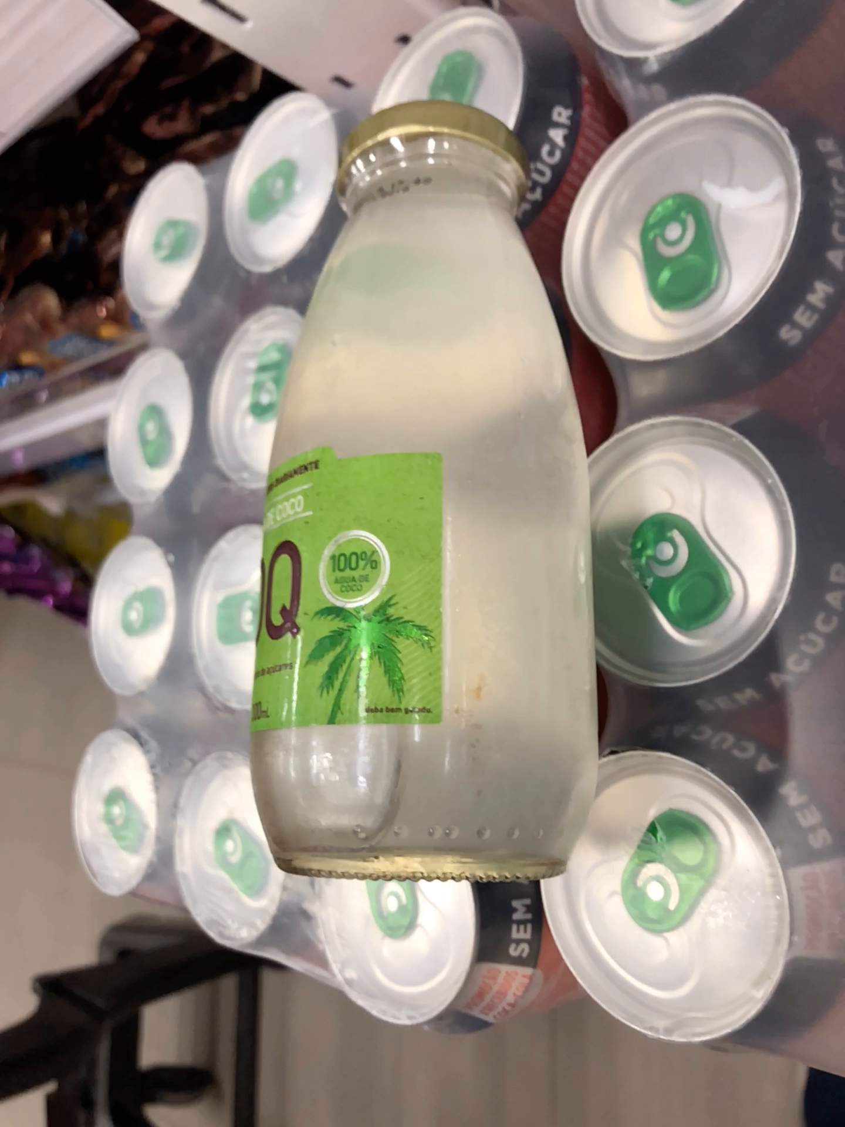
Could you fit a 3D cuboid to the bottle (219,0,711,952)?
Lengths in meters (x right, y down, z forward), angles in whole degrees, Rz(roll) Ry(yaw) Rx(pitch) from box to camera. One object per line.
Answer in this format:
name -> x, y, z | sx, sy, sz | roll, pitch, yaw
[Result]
bottle -> 0.004, -0.012, 0.185 | 0.070, 0.060, 0.150 | -22, 64, 60
